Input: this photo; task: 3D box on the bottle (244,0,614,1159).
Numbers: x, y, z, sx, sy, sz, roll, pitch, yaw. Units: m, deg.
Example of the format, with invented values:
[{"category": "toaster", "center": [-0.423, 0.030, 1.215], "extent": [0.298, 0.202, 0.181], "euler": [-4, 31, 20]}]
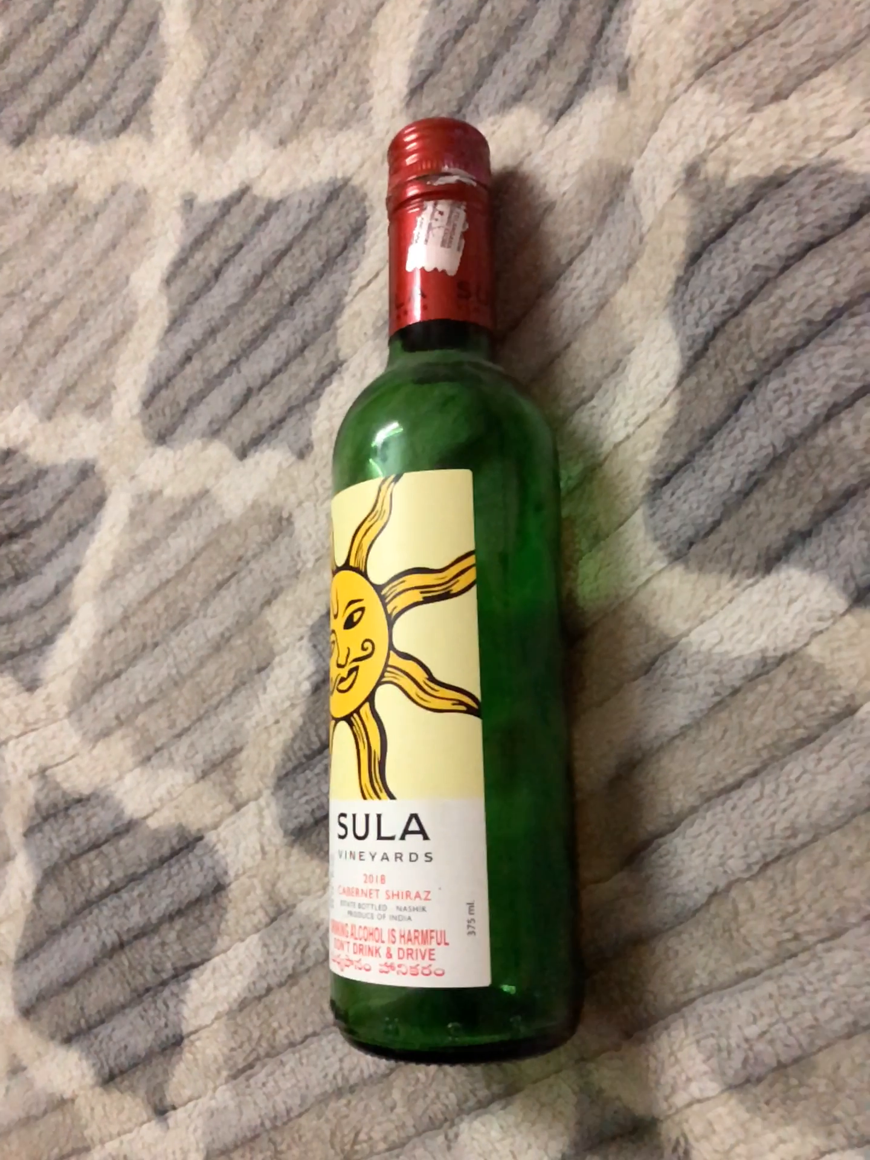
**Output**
[{"category": "bottle", "center": [-0.005, -0.004, 0.223], "extent": [0.060, 0.050, 0.230], "euler": [-9, 78, 39]}]
